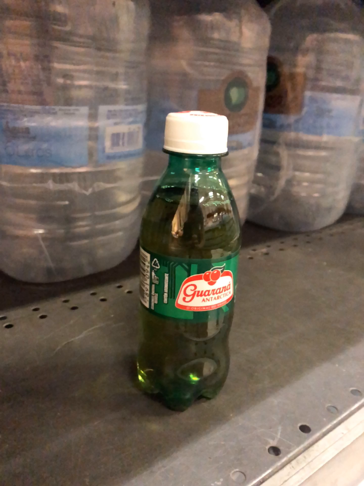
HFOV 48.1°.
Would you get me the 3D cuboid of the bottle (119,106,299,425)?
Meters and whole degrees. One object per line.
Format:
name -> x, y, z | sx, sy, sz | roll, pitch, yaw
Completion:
bottle -> 0.007, 0.008, 0.220 | 0.060, 0.149, 0.060 | 4, 21, -1
